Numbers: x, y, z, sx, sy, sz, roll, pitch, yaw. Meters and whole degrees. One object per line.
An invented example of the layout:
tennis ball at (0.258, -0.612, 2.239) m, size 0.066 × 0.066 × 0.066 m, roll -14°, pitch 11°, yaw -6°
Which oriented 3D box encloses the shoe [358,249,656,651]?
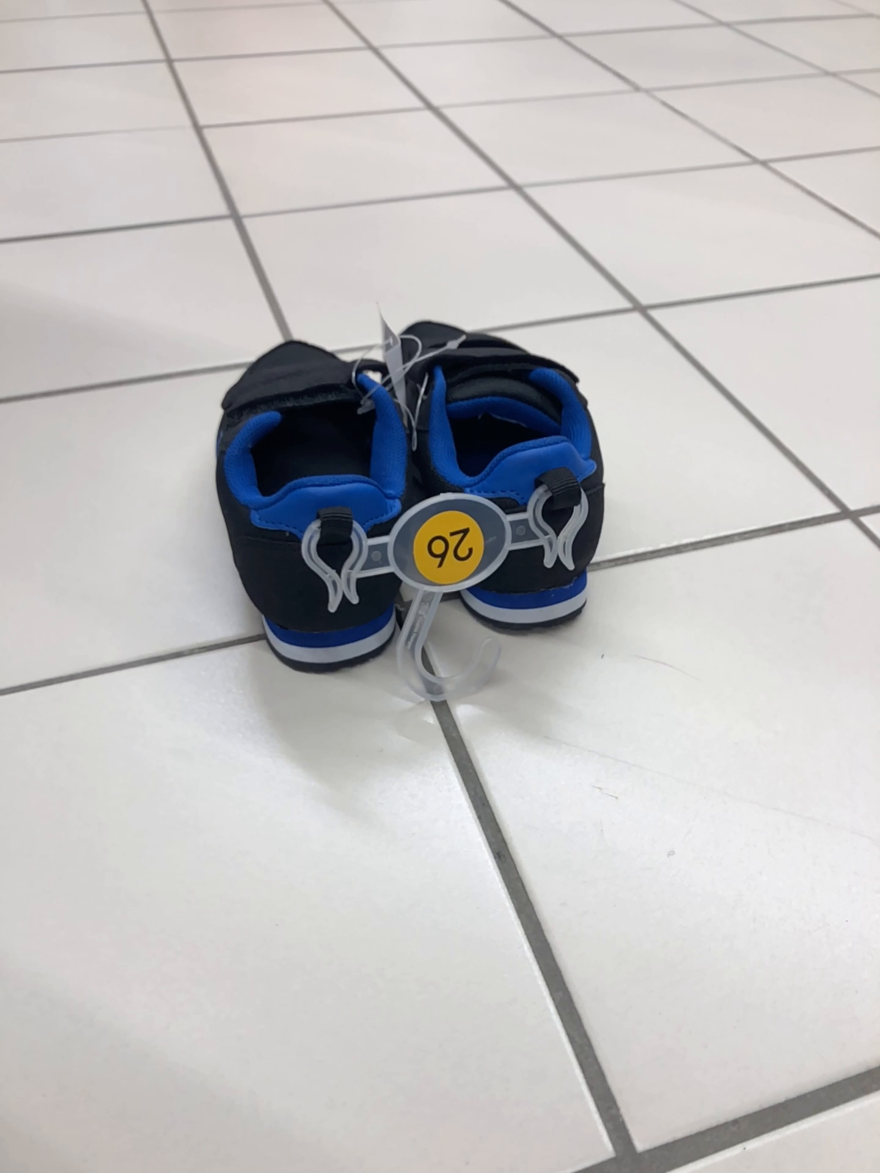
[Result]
shoe at (0.017, -0.065, 0.399) m, size 0.067 × 0.073 × 0.175 m, roll -9°, pitch 42°, yaw -11°

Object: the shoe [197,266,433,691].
shoe at (-0.053, -0.052, 0.383) m, size 0.067 × 0.073 × 0.175 m, roll -8°, pitch 42°, yaw -9°
